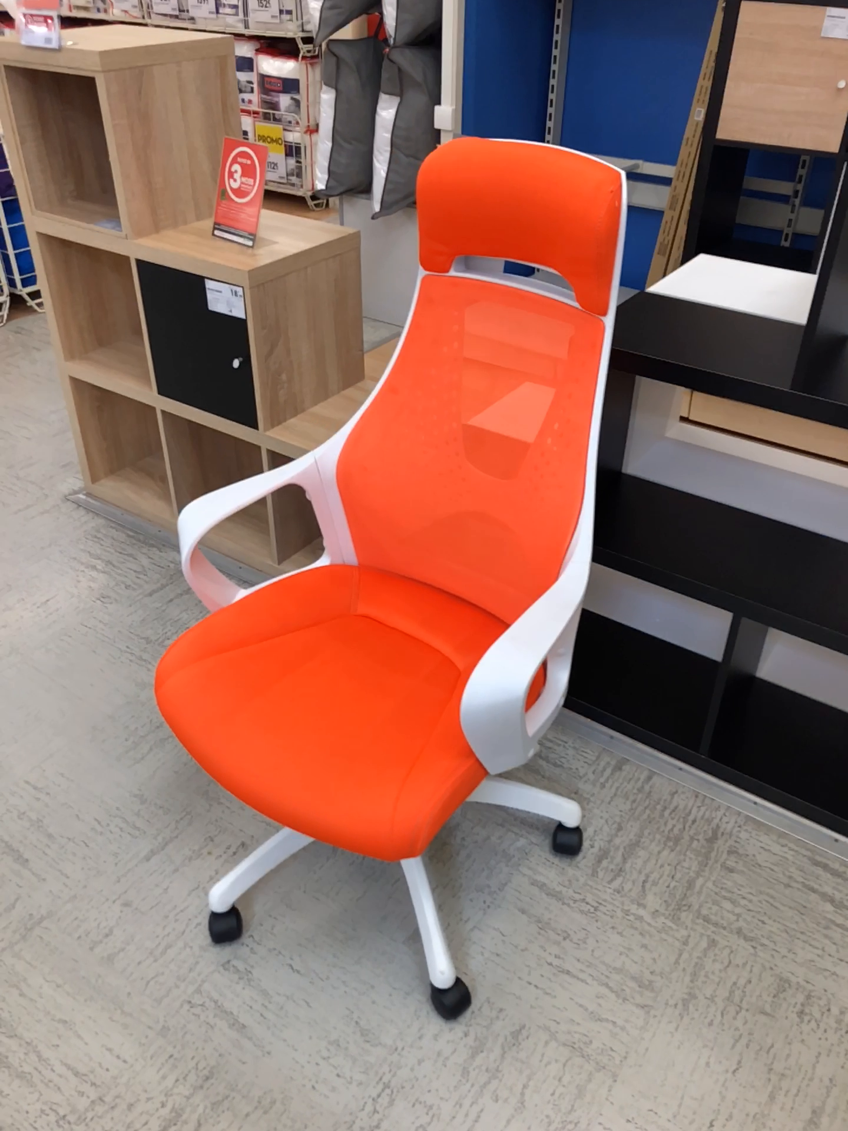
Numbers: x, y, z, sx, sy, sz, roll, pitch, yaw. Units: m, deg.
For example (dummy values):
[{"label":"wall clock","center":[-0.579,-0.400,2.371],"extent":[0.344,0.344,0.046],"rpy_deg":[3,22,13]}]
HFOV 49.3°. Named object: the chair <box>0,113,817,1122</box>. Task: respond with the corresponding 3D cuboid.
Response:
[{"label":"chair","center":[-0.028,0.006,1.337],"extent":[0.680,1.054,0.755],"rpy_deg":[24,40,31]}]
